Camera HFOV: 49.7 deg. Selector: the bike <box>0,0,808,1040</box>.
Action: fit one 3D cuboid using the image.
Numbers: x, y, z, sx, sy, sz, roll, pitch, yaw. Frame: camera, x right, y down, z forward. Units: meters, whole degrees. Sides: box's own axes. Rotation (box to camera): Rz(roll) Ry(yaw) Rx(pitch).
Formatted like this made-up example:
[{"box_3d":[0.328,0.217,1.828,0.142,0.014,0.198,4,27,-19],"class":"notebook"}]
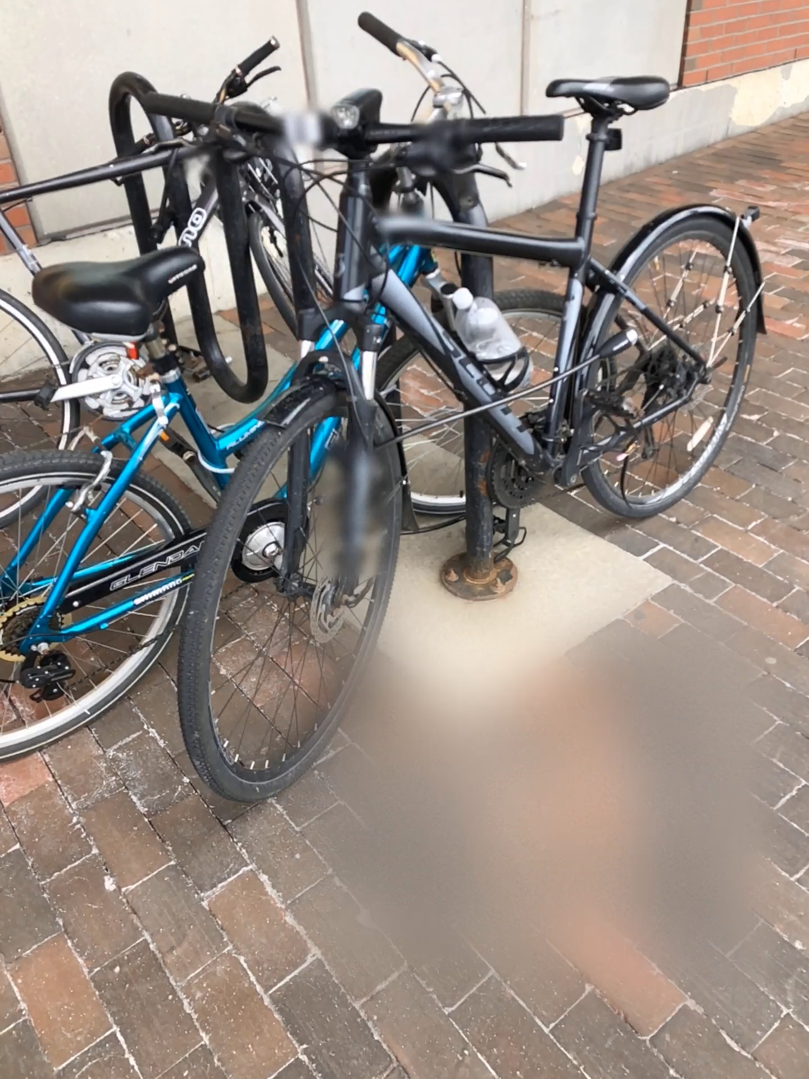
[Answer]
[{"box_3d":[0.179,-0.248,1.499,0.674,0.939,1.515,28,49,35],"class":"bike"}]
